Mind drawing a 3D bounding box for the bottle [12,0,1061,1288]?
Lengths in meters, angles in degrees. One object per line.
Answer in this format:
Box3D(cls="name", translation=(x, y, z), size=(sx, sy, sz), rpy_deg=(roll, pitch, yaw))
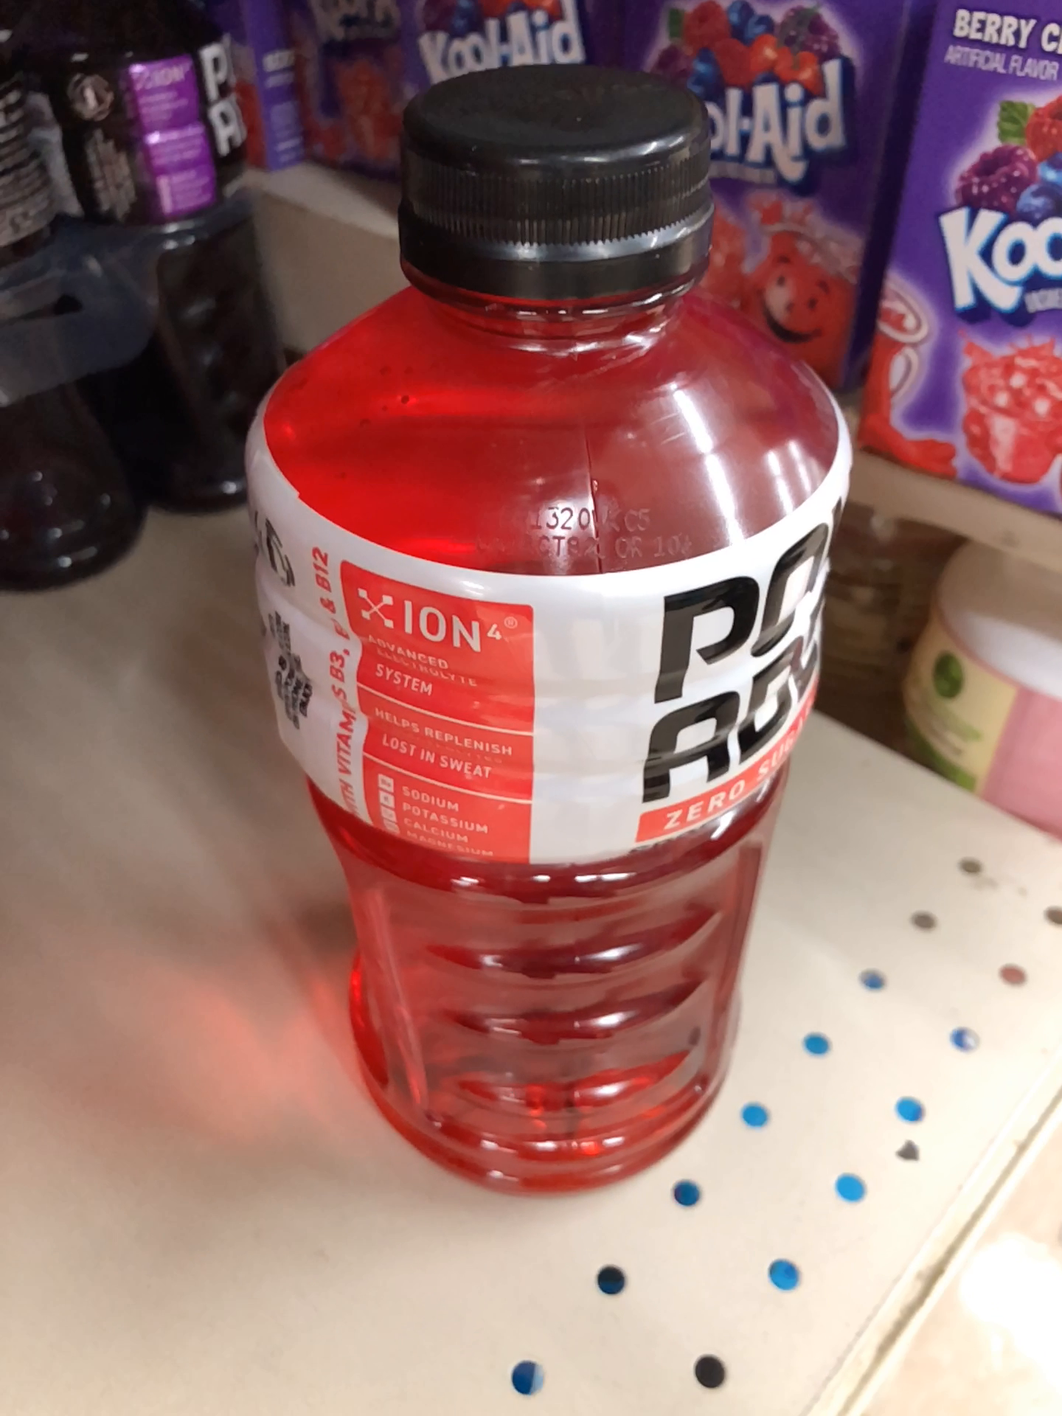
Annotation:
Box3D(cls="bottle", translation=(0.006, -0.006, 0.211), size=(0.095, 0.190, 0.095), rpy_deg=(1, 42, 0))
